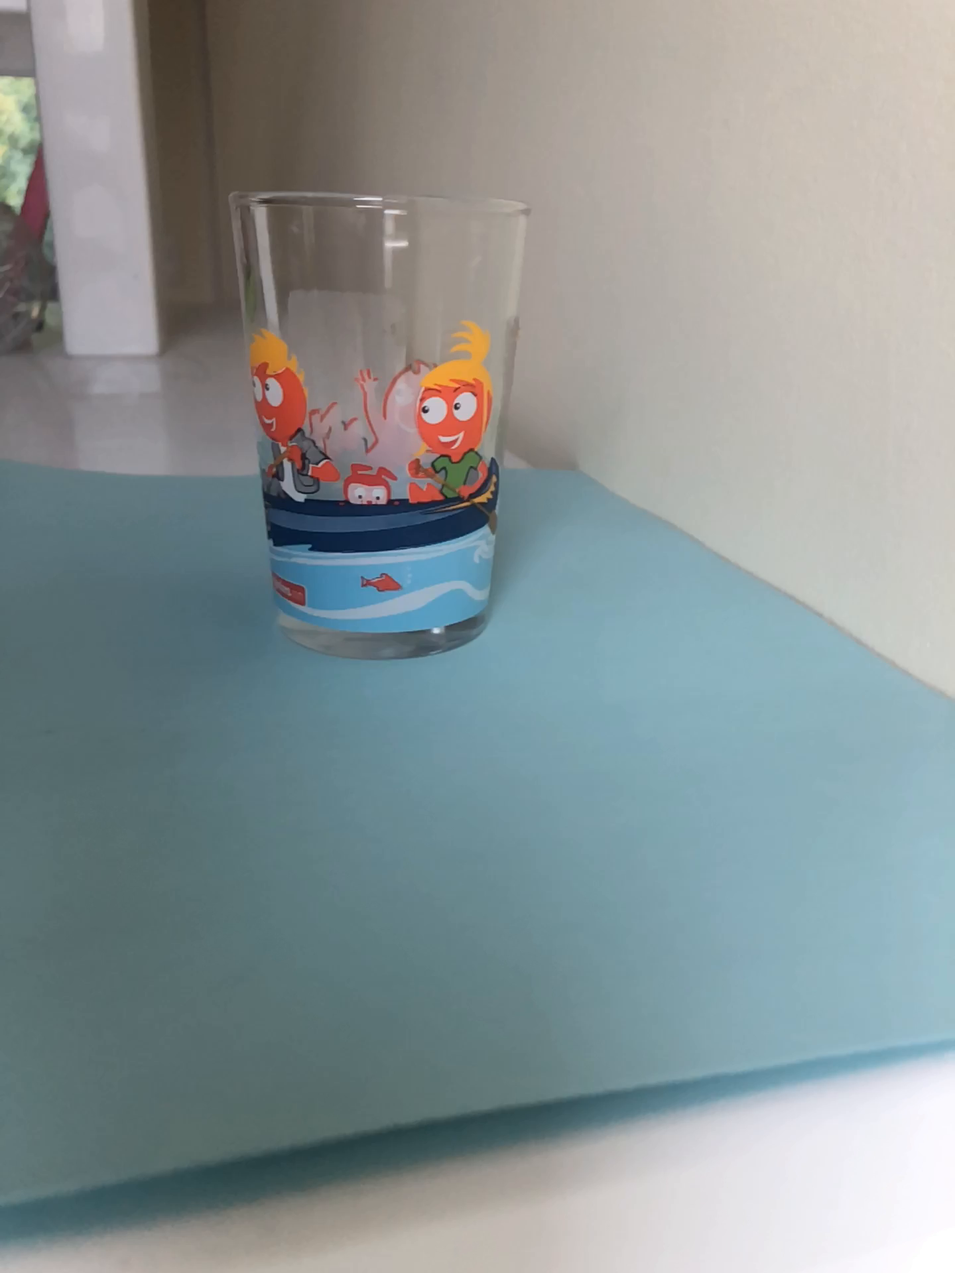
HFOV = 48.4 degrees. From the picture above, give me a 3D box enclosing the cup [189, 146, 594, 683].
[{"bbox_3d":[-0.020,-0.052,0.238,0.060,0.100,0.060,1,21,-1],"label":"cup"}]
